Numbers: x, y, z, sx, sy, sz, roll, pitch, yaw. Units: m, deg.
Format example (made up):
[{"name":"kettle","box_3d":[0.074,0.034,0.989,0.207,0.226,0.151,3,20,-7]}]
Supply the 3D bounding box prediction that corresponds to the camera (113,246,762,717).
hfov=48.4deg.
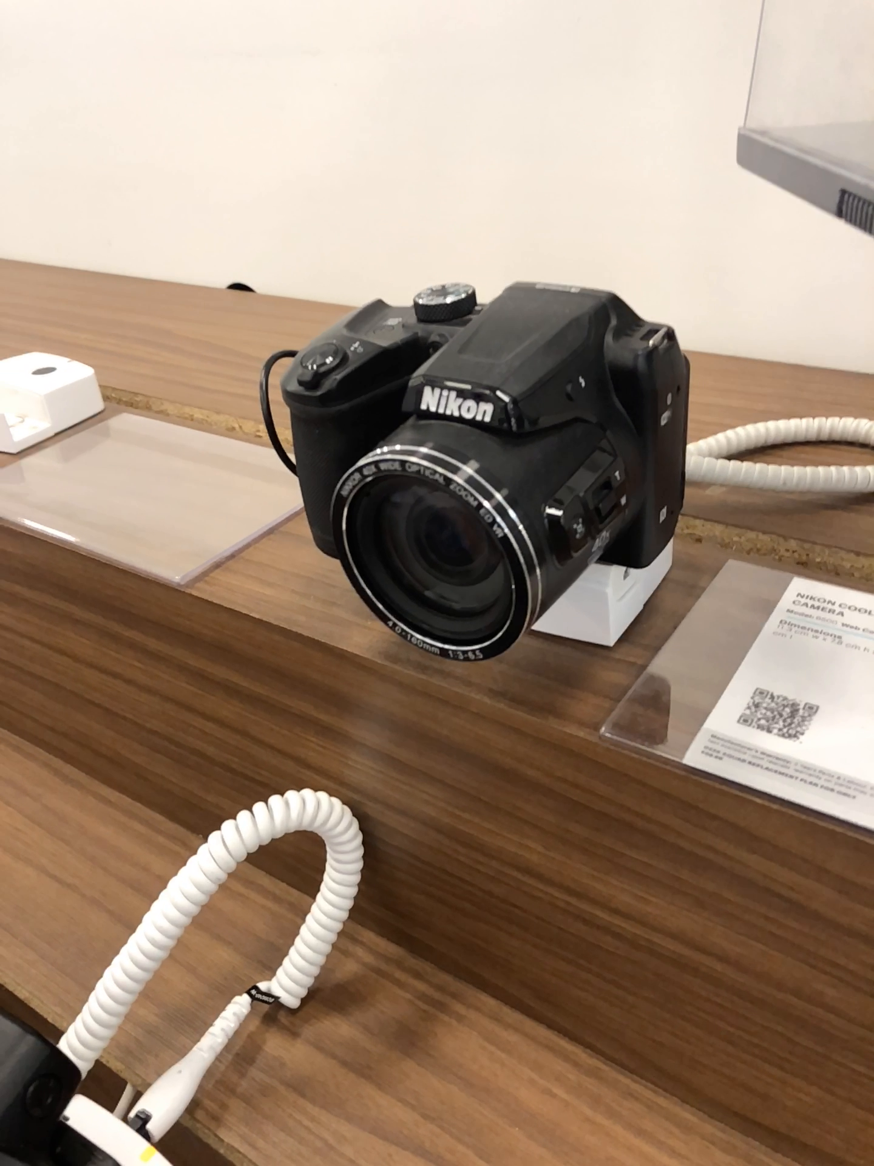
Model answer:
[{"name":"camera","box_3d":[0.006,-0.045,0.287,0.130,0.070,0.130,16,37,30]}]
